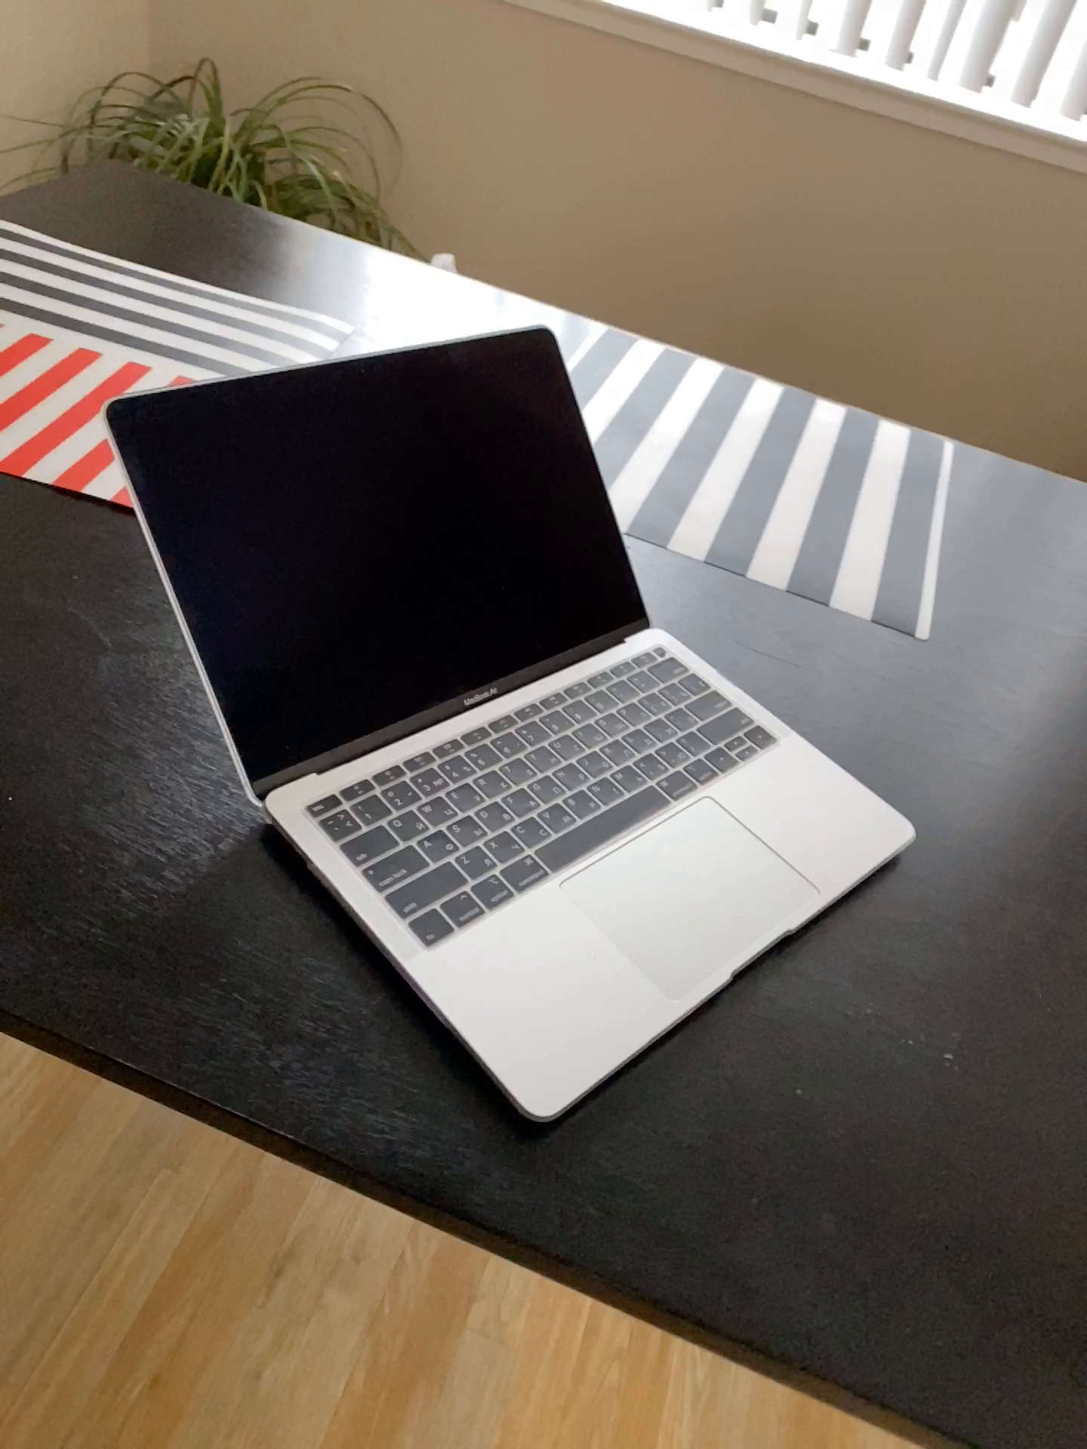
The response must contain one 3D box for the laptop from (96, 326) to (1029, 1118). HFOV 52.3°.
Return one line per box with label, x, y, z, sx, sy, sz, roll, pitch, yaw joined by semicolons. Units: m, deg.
laptop;-0.001;-0.047;0.583;0.297;0.139;0.362;-26;55;-37
